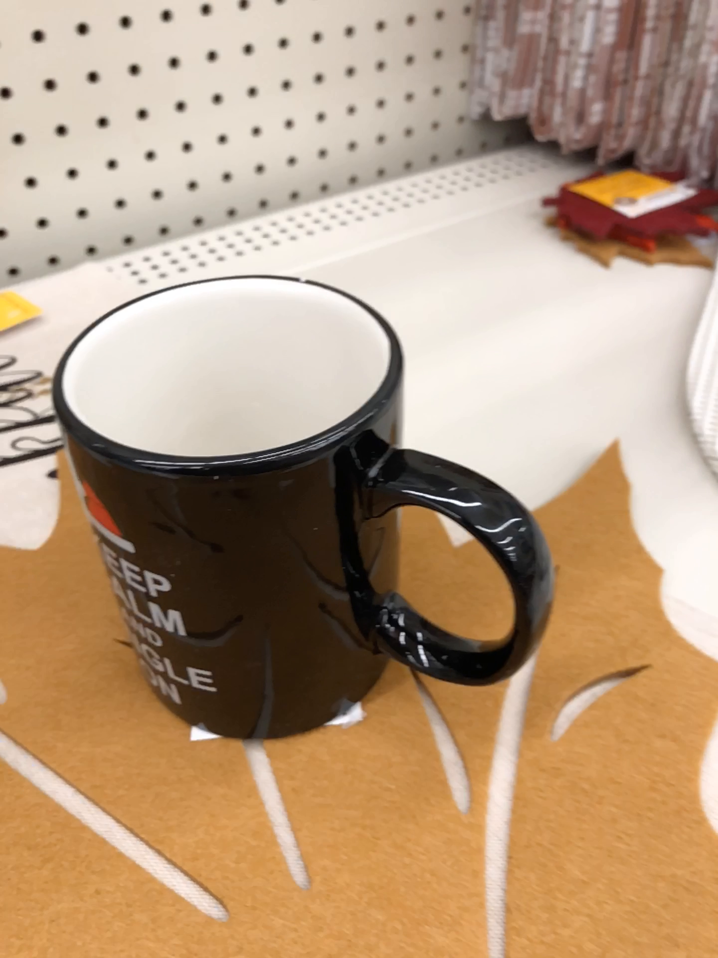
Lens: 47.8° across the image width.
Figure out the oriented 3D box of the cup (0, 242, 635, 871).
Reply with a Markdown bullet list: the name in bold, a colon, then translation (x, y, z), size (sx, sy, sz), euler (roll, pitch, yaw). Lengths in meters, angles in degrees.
- **cup**: translation (-0.010, 0.015, 0.229), size (0.130, 0.110, 0.090), euler (19, 45, 22)
